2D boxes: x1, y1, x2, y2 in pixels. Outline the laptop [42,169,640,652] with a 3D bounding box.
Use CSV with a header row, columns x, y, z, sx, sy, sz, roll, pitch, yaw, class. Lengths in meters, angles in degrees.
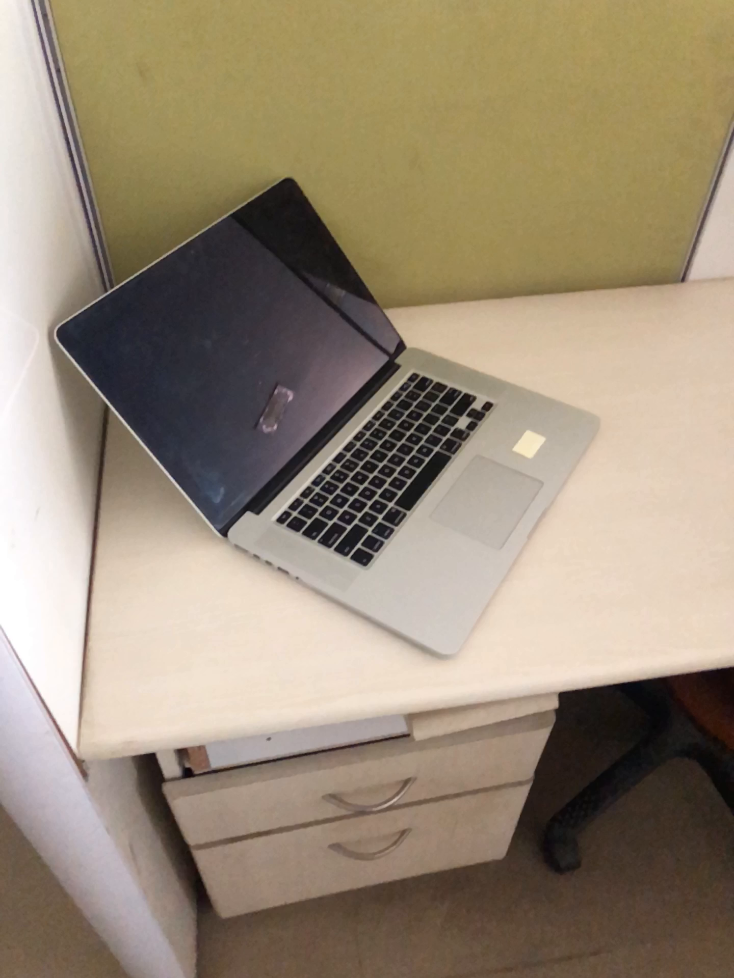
x,y,z,sx,sy,sz,roll,pitch,yaw,class
-0.010,-0.108,0.769,0.403,0.163,0.346,25,50,19,laptop
